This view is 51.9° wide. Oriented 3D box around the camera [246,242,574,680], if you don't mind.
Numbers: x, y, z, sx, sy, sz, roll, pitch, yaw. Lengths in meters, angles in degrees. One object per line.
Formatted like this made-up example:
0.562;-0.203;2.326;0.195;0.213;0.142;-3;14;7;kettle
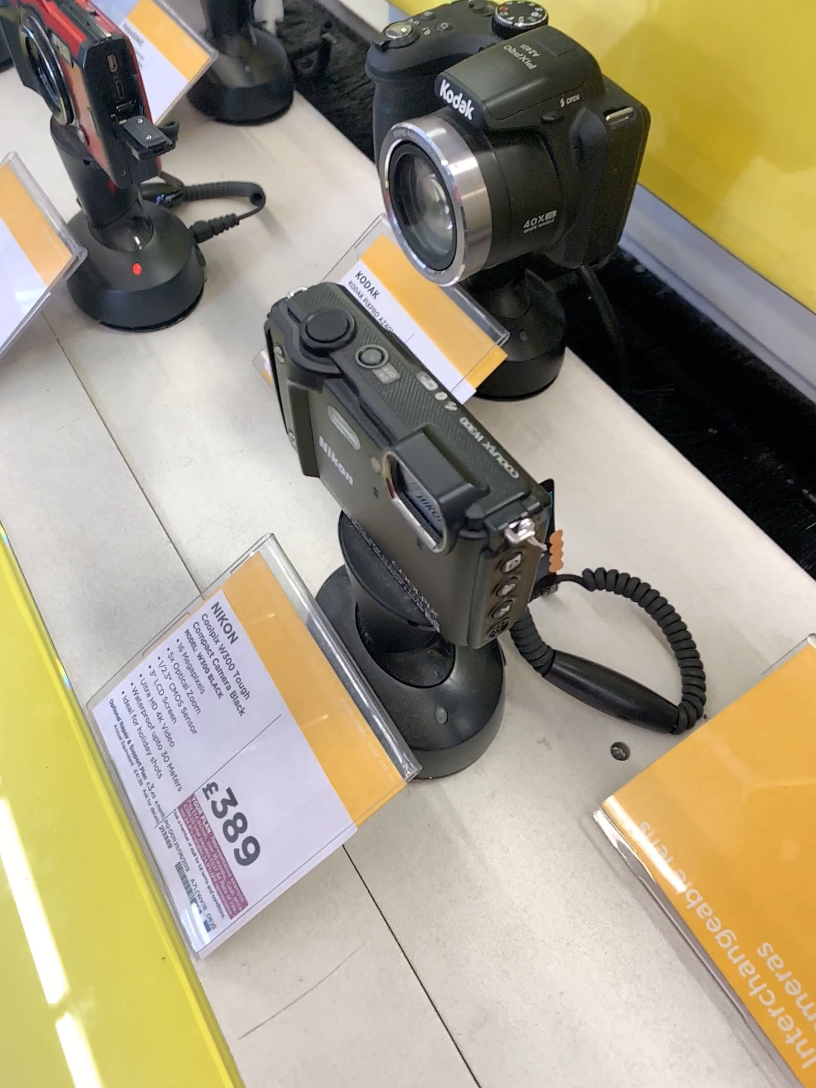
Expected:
-0.004;-0.027;0.259;0.030;0.069;0.121;-28;60;-18;camera
